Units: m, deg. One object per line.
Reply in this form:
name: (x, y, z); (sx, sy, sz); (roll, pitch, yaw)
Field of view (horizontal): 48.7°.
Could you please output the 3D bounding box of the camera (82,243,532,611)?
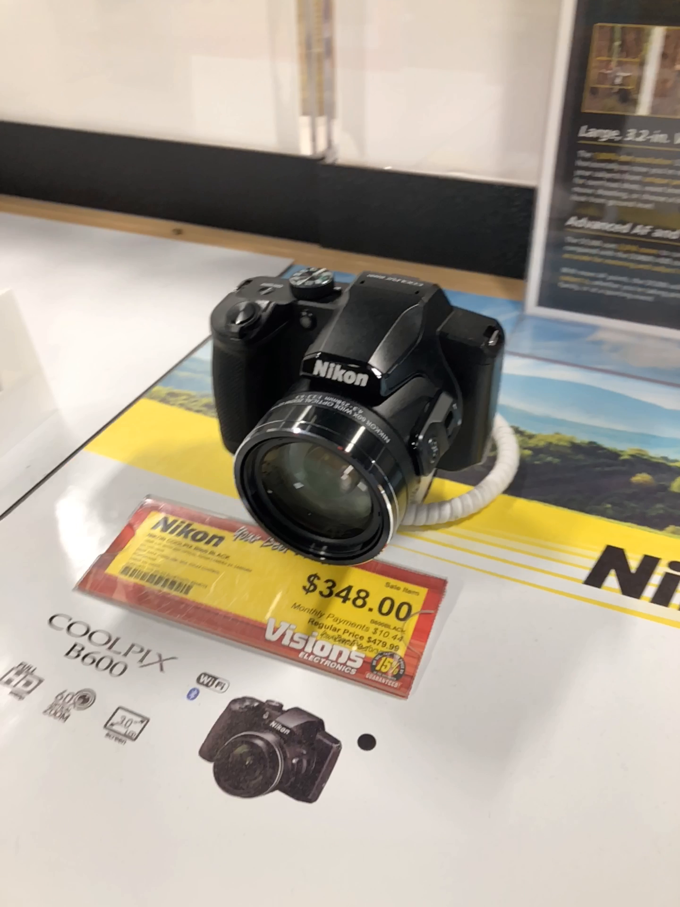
camera: (-0.006, -0.021, 0.298); (0.130, 0.070, 0.111); (15, 40, 21)
